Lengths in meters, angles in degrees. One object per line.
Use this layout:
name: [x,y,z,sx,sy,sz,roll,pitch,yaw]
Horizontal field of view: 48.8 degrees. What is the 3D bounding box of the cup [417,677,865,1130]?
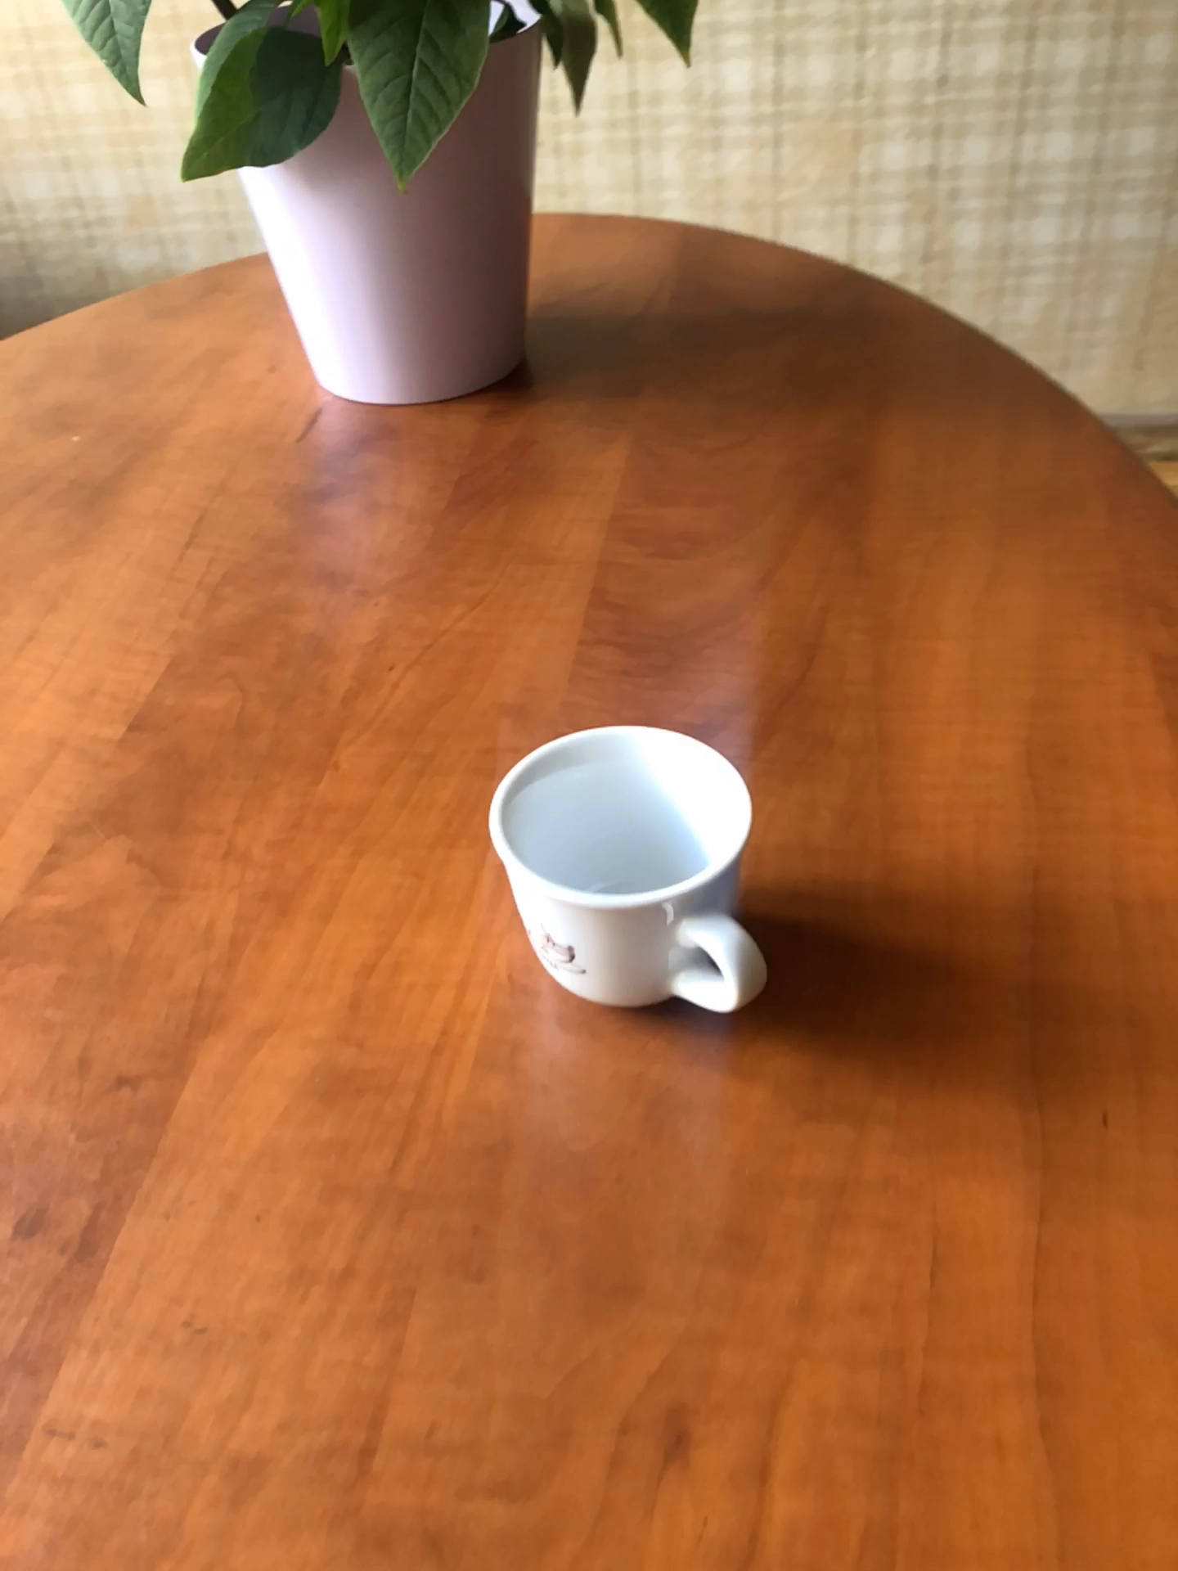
cup: [0.012,0.024,0.317,0.065,0.050,0.083,-31,47,-28]
